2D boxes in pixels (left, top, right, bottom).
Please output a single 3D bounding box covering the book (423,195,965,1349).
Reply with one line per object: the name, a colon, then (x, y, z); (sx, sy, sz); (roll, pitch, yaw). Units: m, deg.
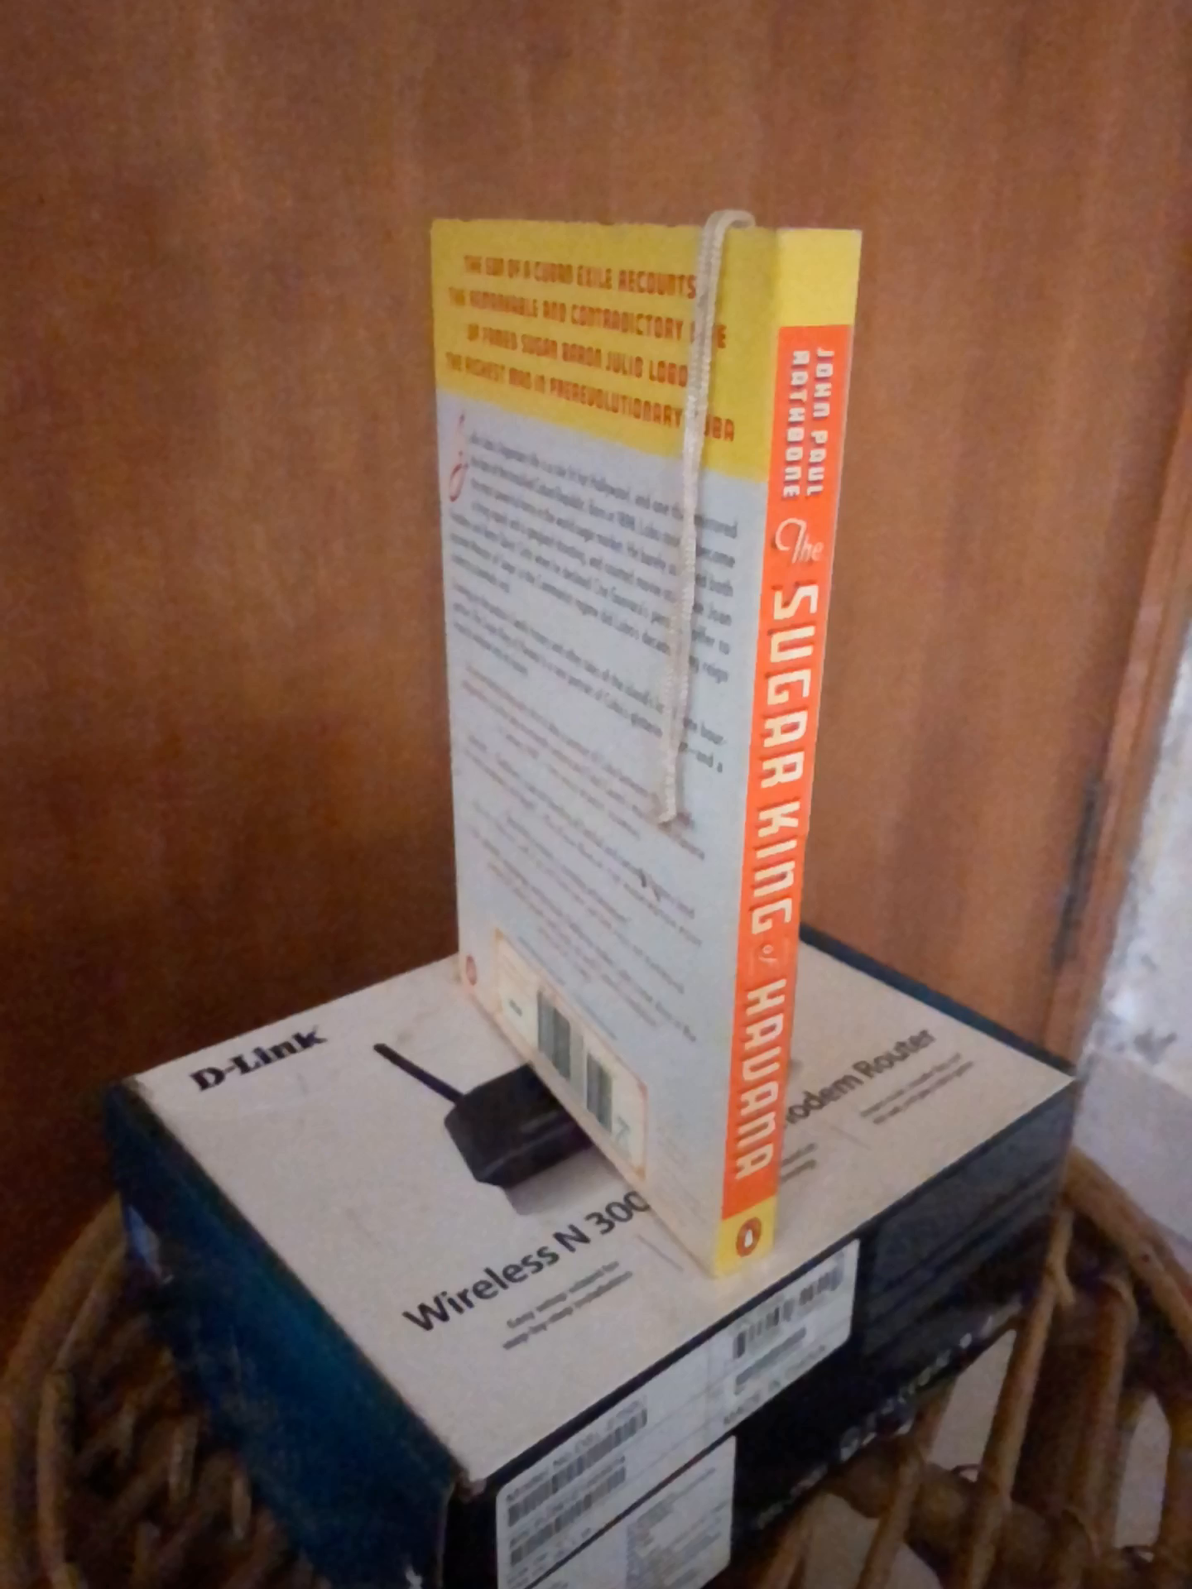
book: (0.007, -0.014, 0.292); (0.030, 0.209, 0.150); (-12, 28, -23)
